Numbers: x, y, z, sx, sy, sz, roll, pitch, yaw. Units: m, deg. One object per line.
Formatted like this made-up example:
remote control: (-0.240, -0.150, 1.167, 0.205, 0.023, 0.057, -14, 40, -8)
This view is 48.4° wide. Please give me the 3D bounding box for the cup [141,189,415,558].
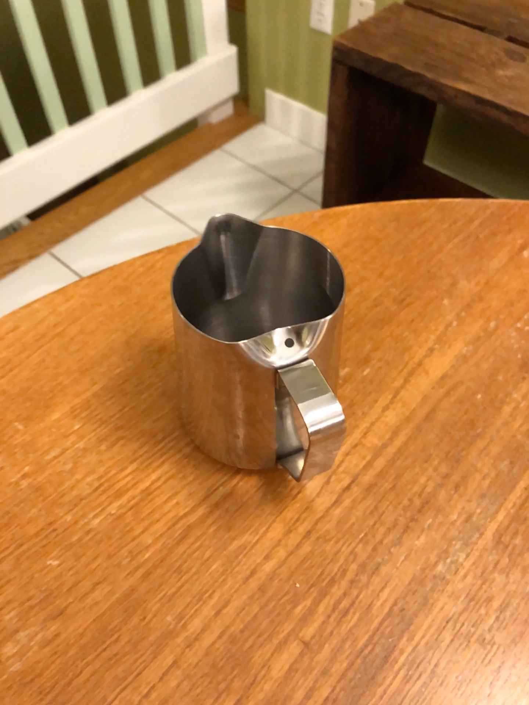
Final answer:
cup: (-0.001, 0.010, 0.307, 0.082, 0.115, 0.136, -15, 54, -11)
